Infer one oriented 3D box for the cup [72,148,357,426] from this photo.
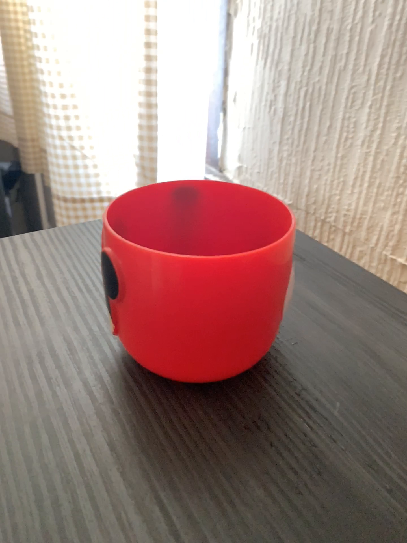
[{"bbox_3d":[-0.010,-0.008,0.214,0.100,0.069,0.131,-6,32,-14],"label":"cup"}]
